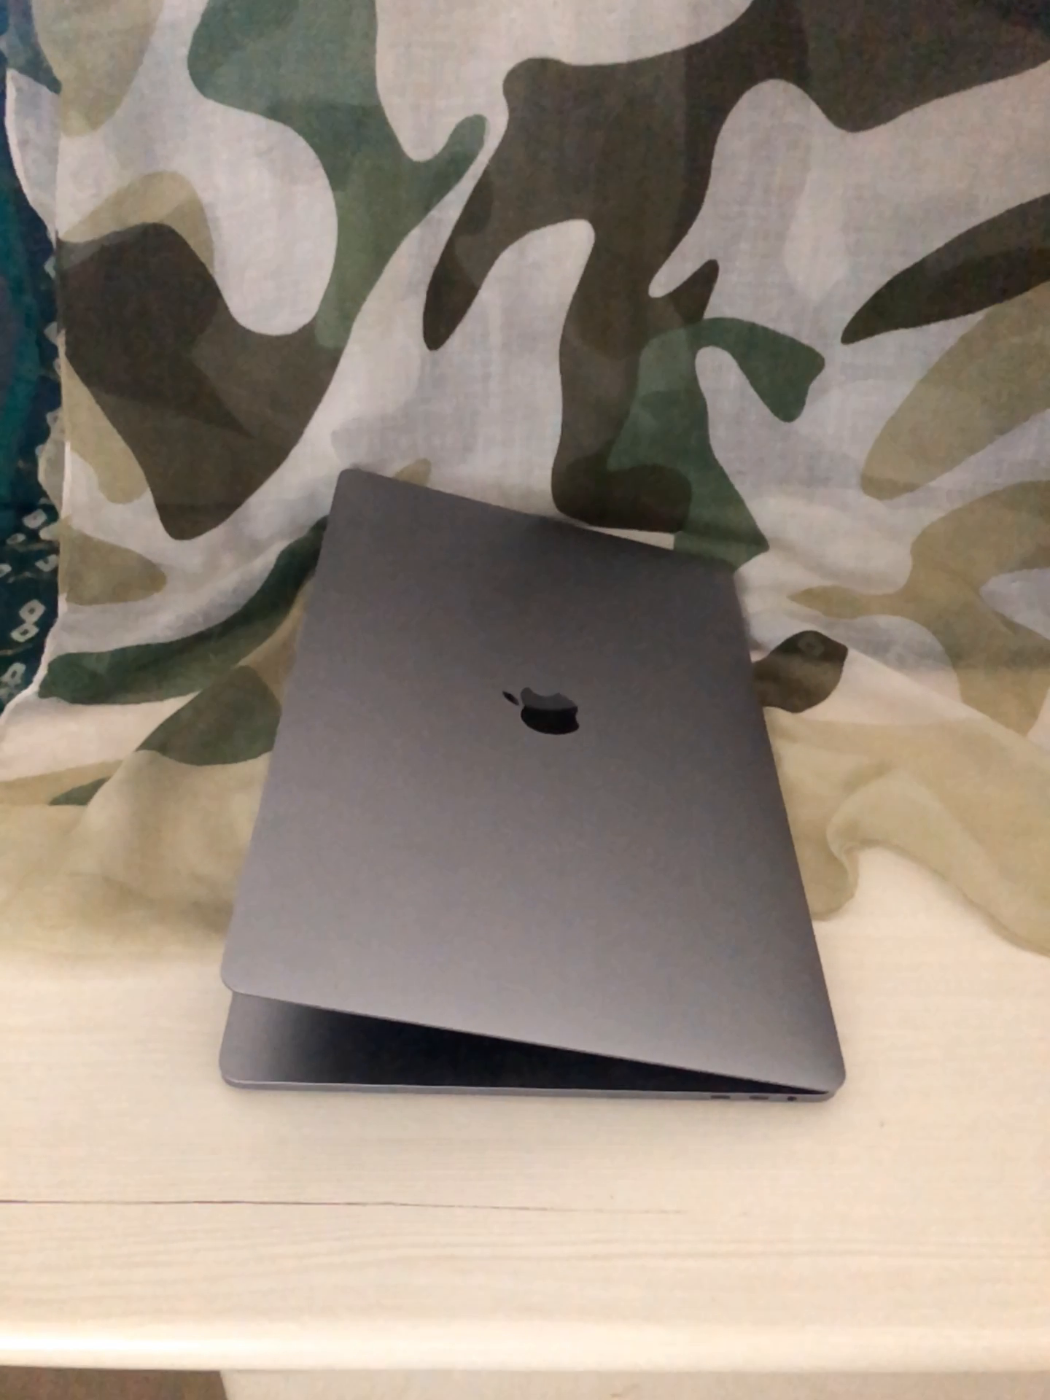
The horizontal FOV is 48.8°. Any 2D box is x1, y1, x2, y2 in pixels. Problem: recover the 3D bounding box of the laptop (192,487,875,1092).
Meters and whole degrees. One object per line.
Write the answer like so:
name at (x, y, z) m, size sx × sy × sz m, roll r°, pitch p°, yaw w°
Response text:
laptop at (0.005, 0.014, 0.549) m, size 0.236 × 0.058 × 0.340 m, roll 2°, pitch 40°, yaw -1°
